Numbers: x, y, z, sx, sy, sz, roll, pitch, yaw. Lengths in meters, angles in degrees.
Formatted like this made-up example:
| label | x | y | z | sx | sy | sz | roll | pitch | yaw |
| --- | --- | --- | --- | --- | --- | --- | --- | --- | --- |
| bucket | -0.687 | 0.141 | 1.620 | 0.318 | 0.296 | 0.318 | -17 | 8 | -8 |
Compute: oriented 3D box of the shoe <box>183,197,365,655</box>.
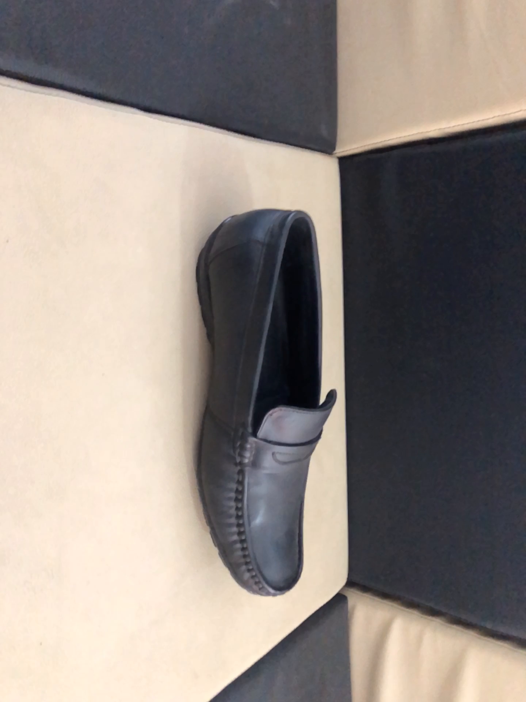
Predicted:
| label | x | y | z | sx | sy | sz | roll | pitch | yaw |
| --- | --- | --- | --- | --- | --- | --- | --- | --- | --- |
| shoe | 0.012 | 0.046 | 0.426 | 0.101 | 0.079 | 0.290 | -8 | 98 | -50 |
